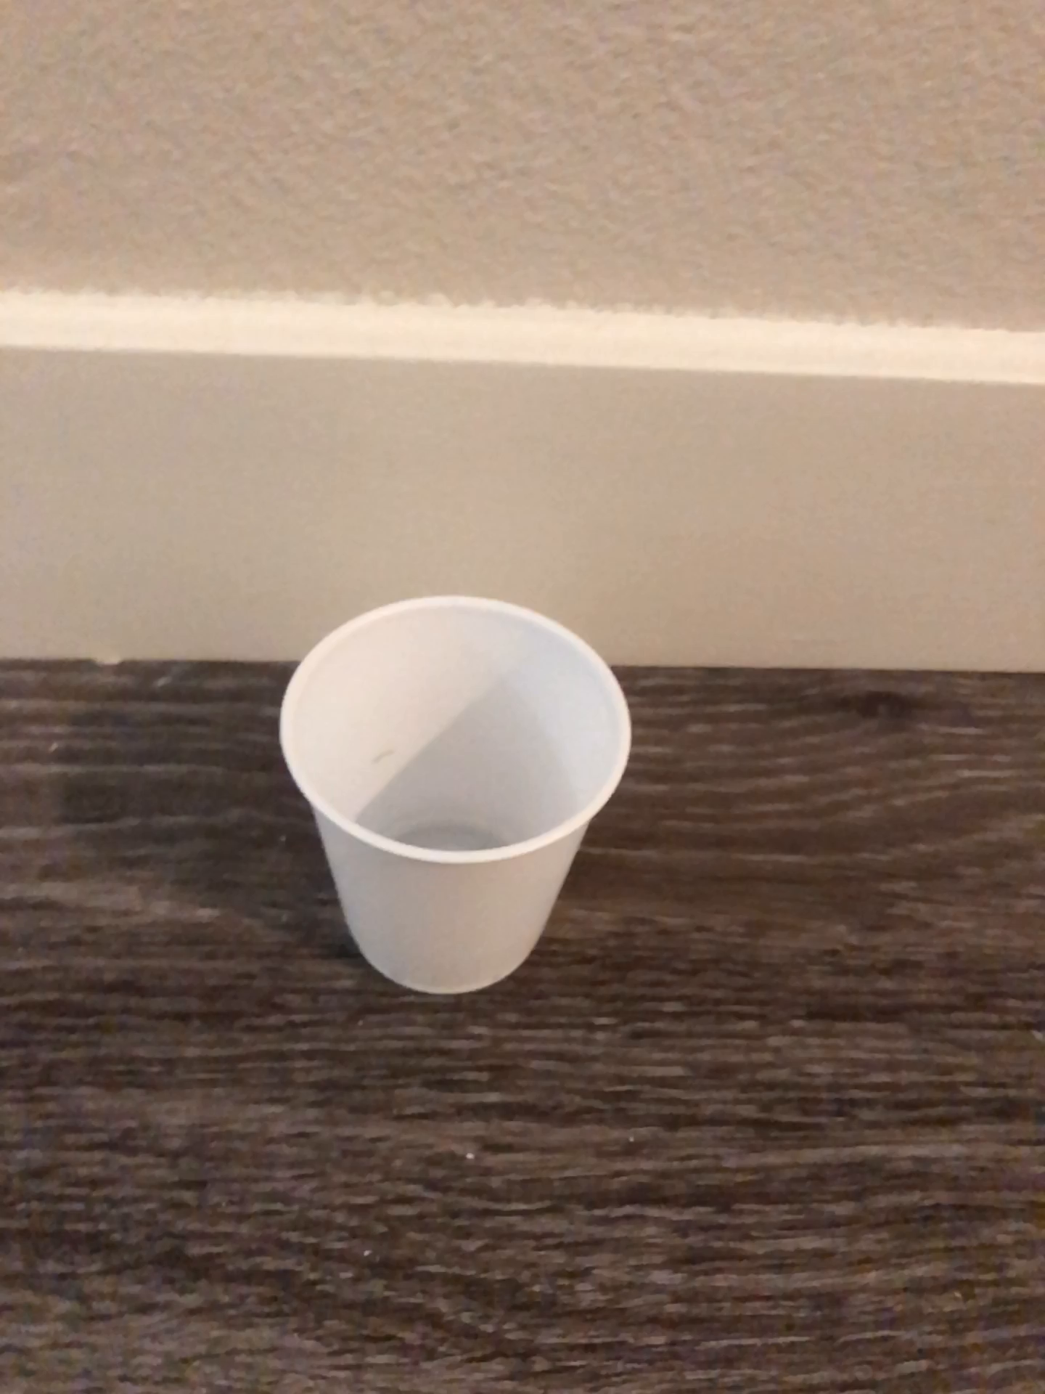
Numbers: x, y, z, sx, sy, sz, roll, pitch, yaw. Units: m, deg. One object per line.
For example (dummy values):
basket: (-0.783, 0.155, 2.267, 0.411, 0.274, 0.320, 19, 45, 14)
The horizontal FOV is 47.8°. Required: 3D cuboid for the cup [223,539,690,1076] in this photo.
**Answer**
cup: (-0.010, 0.020, 0.217, 0.060, 0.060, 0.060, 3, 47, -3)
